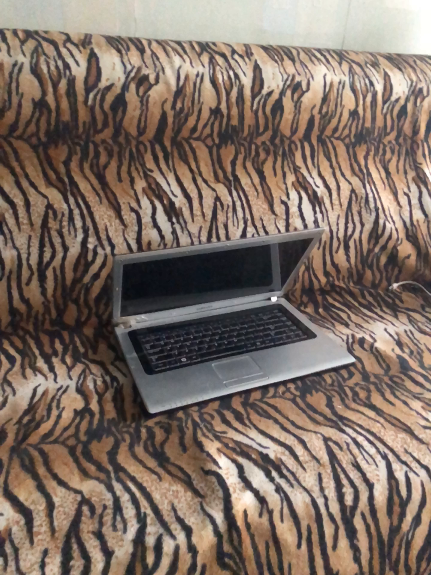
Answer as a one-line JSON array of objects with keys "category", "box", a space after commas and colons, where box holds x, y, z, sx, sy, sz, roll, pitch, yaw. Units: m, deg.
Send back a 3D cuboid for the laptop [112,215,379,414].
[{"category": "laptop", "box": [0.031, 0.020, 0.782, 0.351, 0.179, 0.239, -9, 30, -21]}]
